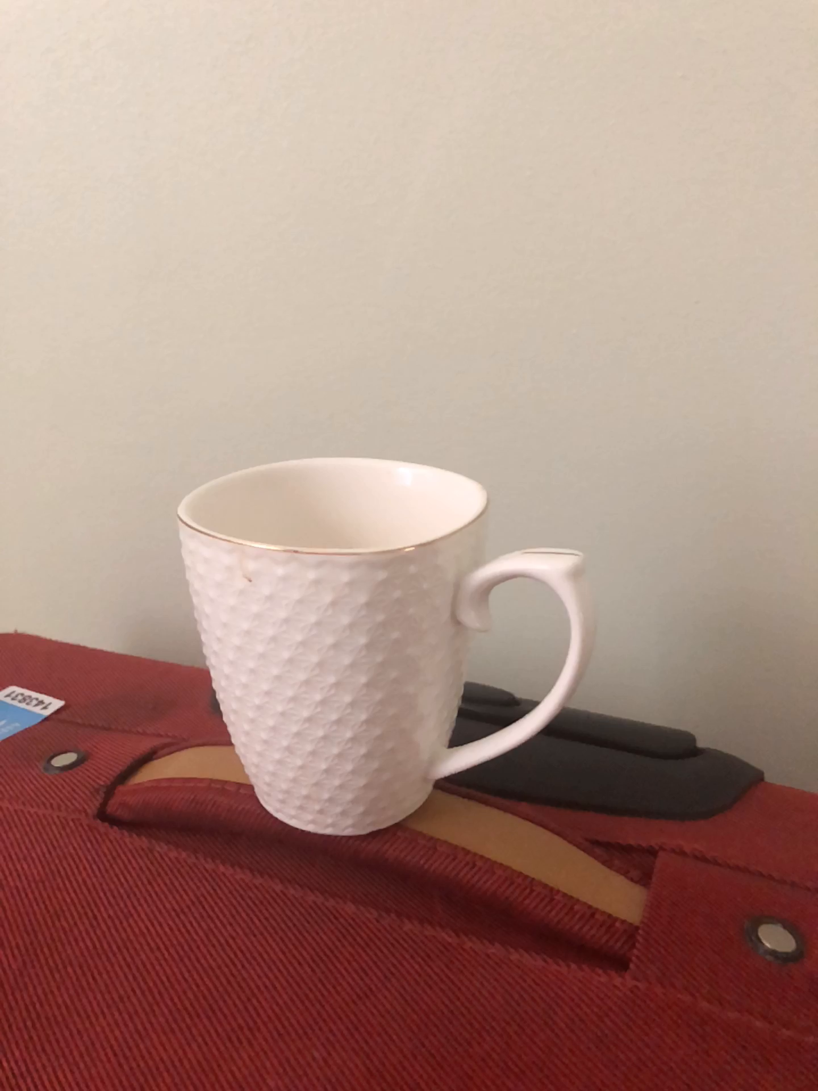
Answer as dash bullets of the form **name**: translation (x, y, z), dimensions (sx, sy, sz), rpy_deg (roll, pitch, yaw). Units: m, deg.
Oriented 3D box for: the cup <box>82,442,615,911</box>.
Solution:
- **cup**: translation (-0.007, 0.026, 0.236), dimensions (0.111, 0.084, 0.075), rpy_deg (3, 23, 15)
